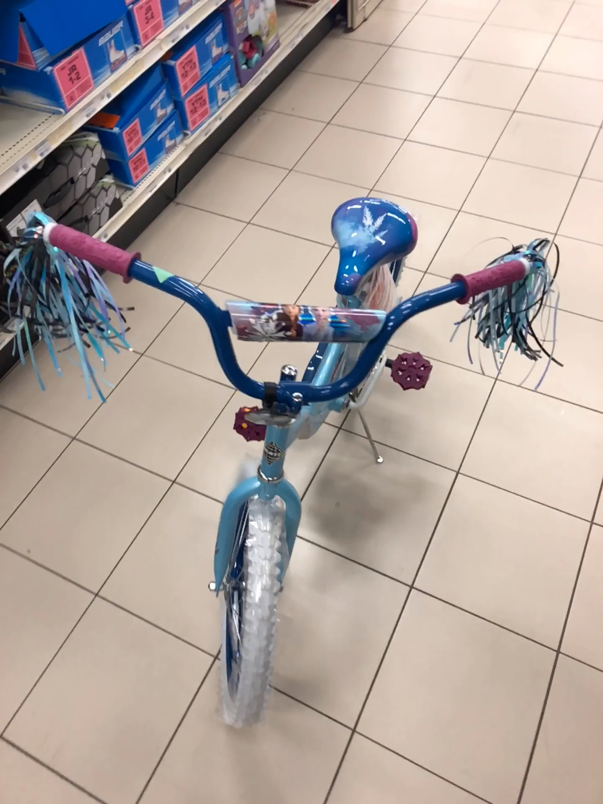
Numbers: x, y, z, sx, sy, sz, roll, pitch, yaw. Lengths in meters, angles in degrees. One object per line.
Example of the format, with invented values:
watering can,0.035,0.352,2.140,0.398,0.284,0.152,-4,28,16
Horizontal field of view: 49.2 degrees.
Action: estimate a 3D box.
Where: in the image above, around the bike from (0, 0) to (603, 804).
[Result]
bike,0.086,-0.077,1.163,0.641,0.953,1.179,12,53,13
